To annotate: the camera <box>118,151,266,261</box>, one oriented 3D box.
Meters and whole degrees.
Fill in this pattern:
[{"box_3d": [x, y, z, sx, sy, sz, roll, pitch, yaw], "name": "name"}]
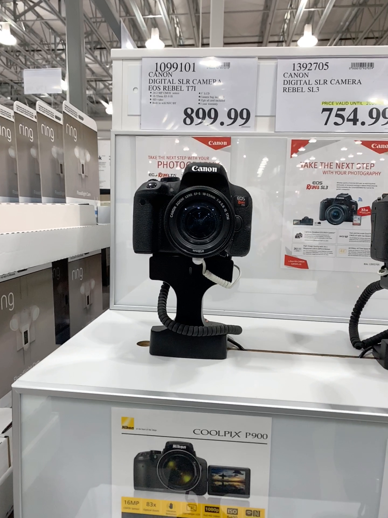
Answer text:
[{"box_3d": [-0.001, -0.055, 0.425, 0.132, 0.096, 0.129, 1, 6, 2], "name": "camera"}]
